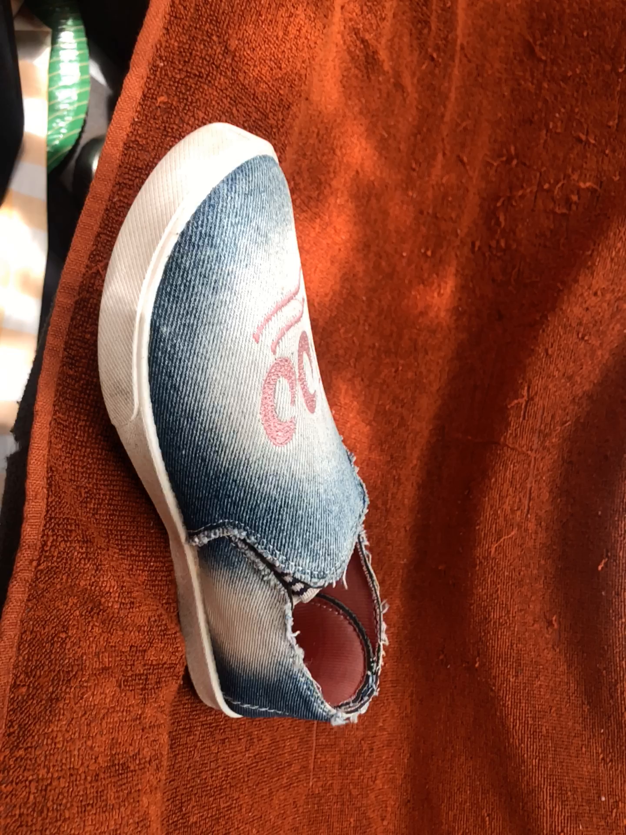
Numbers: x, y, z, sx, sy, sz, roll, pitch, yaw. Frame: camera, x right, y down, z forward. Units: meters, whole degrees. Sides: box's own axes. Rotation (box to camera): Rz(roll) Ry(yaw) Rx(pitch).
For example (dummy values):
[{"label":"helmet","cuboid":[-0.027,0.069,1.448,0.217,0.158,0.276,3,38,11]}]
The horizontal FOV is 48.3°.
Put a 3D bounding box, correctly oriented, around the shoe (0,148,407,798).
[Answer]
[{"label":"shoe","cuboid":[-0.027,0.027,0.288,0.090,0.079,0.241,-45,133,-50]}]
